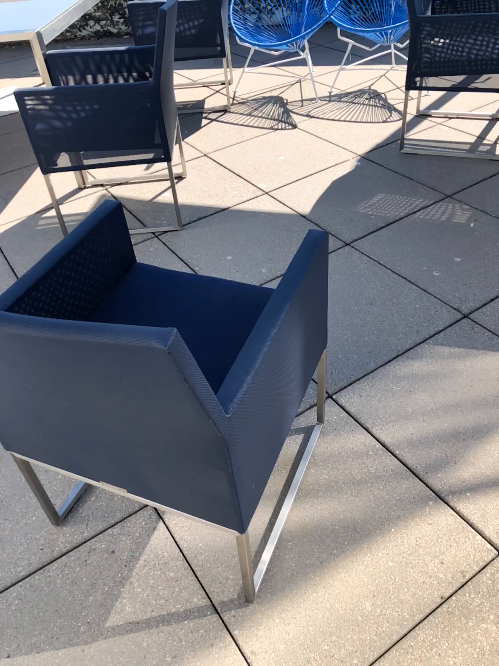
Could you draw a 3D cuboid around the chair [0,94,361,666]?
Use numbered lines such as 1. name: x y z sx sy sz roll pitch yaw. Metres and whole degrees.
1. chair: -0.201 0.050 1.103 0.651 0.776 0.672 12 43 20
